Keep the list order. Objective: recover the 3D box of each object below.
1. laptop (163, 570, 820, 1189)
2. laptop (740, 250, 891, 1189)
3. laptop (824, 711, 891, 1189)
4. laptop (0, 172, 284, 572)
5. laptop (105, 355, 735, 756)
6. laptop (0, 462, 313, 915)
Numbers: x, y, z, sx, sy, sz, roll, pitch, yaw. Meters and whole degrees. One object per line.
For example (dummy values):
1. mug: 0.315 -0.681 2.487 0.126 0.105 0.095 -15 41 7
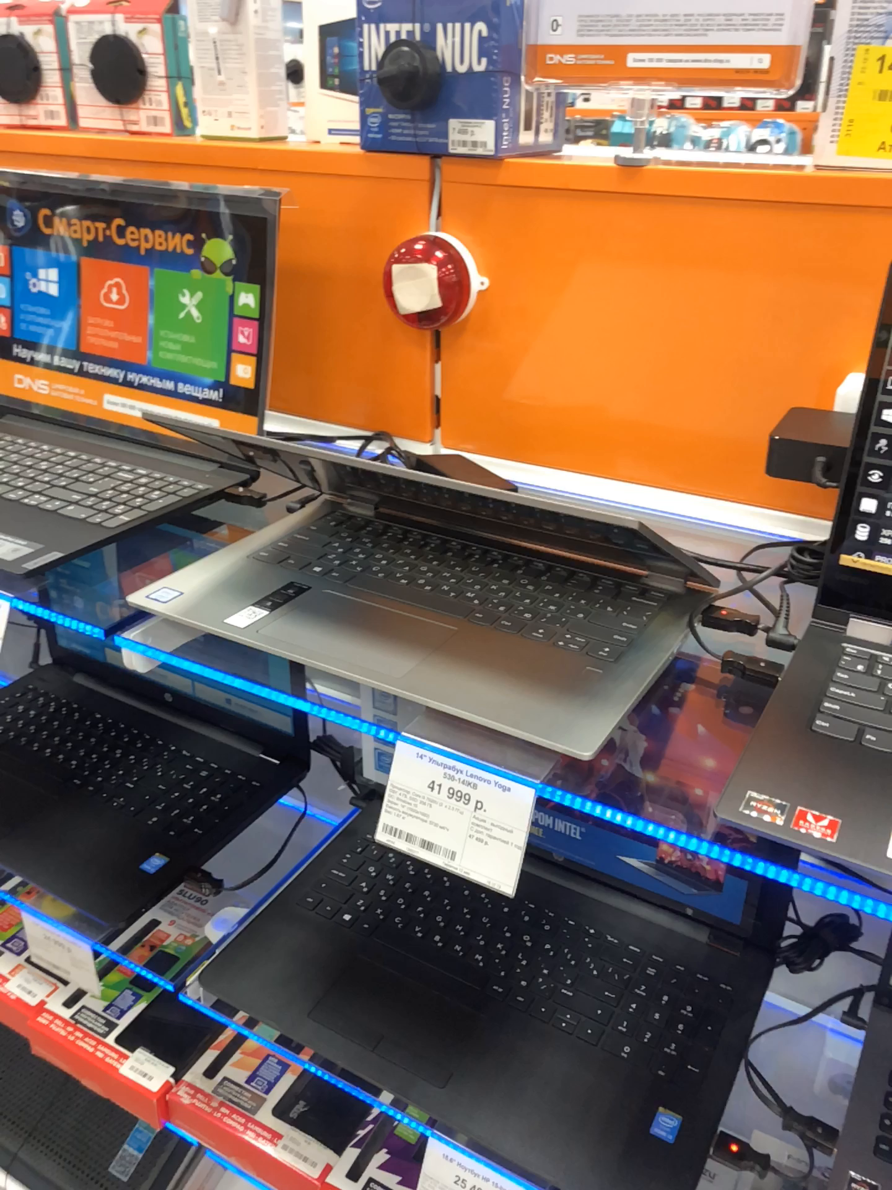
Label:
1. laptop: 0.035 0.175 0.695 0.361 0.223 0.261 16 30 27
2. laptop: 0.325 -0.005 0.418 0.328 0.210 0.247 15 30 24
3. laptop: 0.395 0.267 0.498 0.329 0.228 0.236 15 31 26
4. laptop: -0.355 -0.202 0.774 0.329 0.219 0.277 15 29 25
5. laptop: -0.013 -0.051 0.609 0.313 0.110 0.210 16 31 27
6. laptop: -0.342 0.060 0.890 0.333 0.222 0.244 17 33 27
